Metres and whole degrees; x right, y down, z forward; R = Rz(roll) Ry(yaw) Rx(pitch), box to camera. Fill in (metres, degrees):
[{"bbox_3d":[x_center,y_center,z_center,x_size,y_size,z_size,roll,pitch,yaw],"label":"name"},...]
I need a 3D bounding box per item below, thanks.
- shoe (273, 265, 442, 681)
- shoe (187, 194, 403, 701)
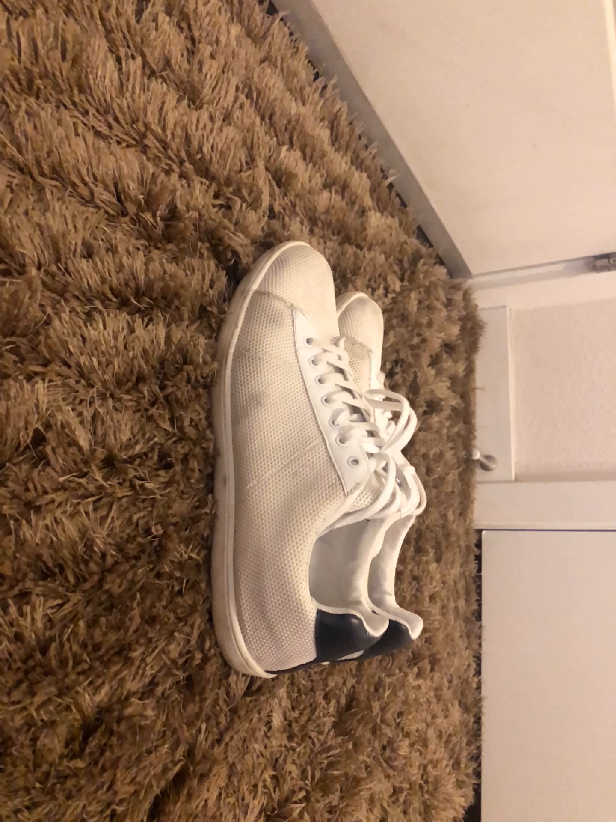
[{"bbox_3d":[0.043,0.044,0.489,0.105,0.079,0.263,30,60,-59],"label":"shoe"},{"bbox_3d":[0.002,0.021,0.408,0.101,0.079,0.263,29,61,-60],"label":"shoe"}]
